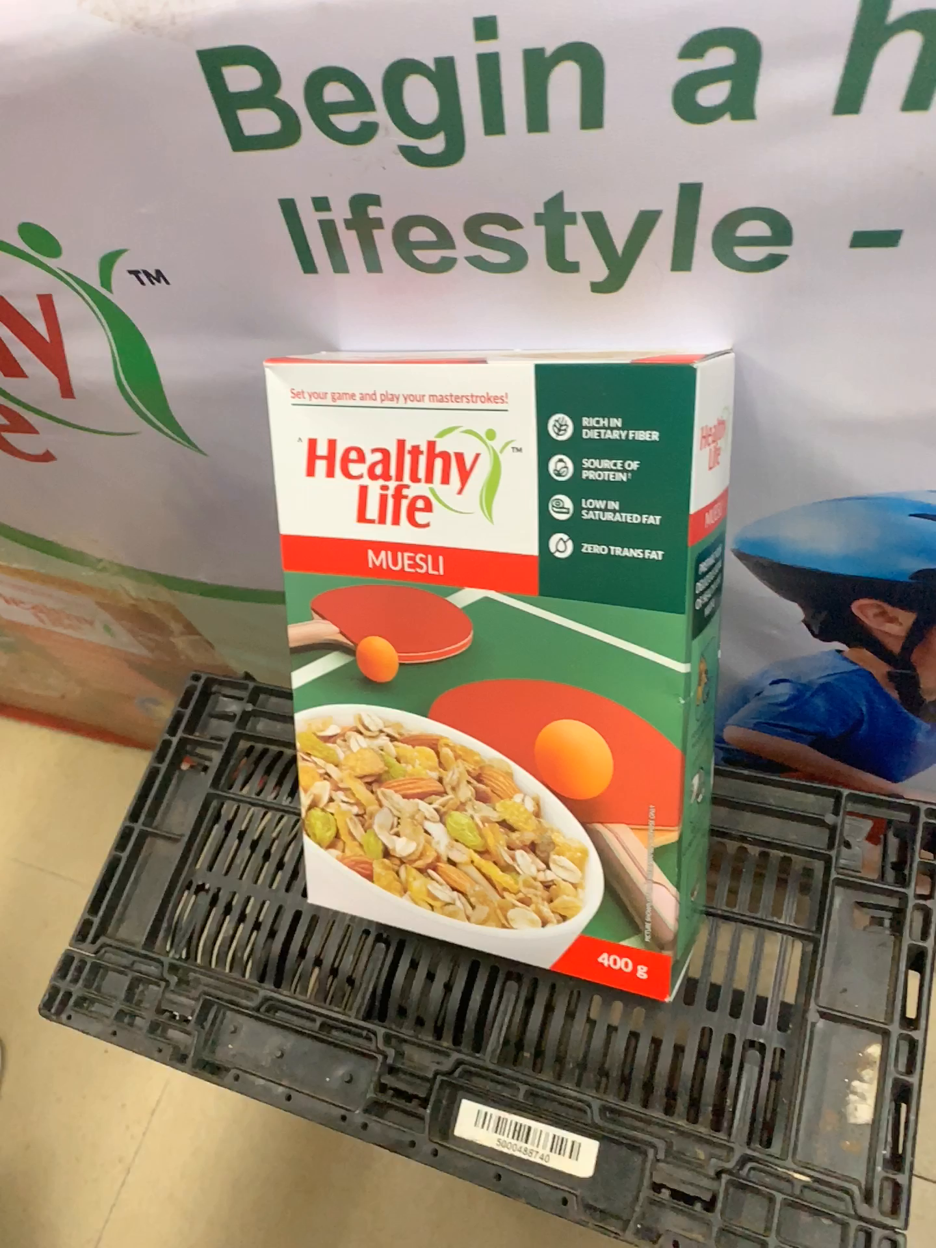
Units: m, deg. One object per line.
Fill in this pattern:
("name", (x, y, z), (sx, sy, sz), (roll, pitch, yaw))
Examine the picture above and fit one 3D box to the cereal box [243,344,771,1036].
("cereal box", (0.015, 0.013, 0.374), (0.170, 0.230, 0.080), (7, 17, 26))
